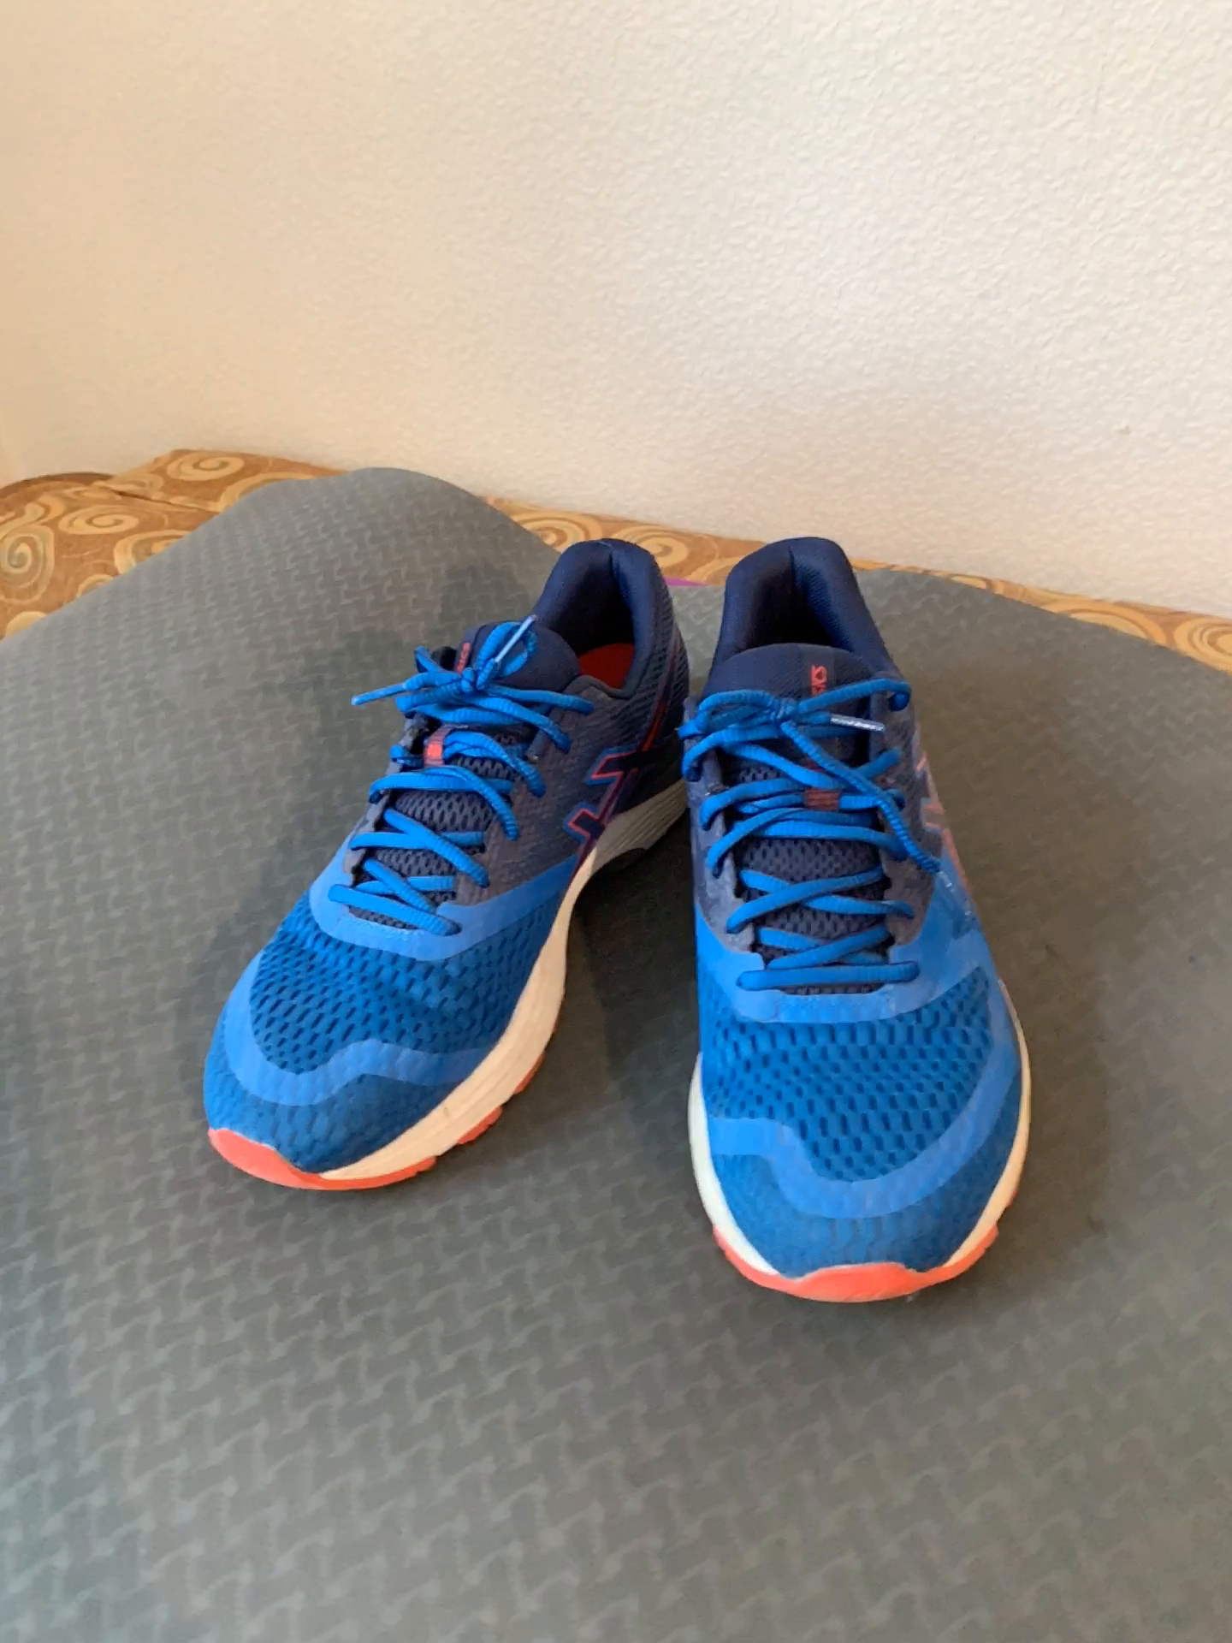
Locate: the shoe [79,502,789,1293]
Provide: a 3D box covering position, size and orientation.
[{"bbox_3d":[-0.041,0.003,0.492,0.120,0.109,0.301,15,45,20],"label":"shoe"}]

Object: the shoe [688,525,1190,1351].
[{"bbox_3d":[0.088,0.018,0.458,0.120,0.109,0.302,-1,42,4],"label":"shoe"}]
